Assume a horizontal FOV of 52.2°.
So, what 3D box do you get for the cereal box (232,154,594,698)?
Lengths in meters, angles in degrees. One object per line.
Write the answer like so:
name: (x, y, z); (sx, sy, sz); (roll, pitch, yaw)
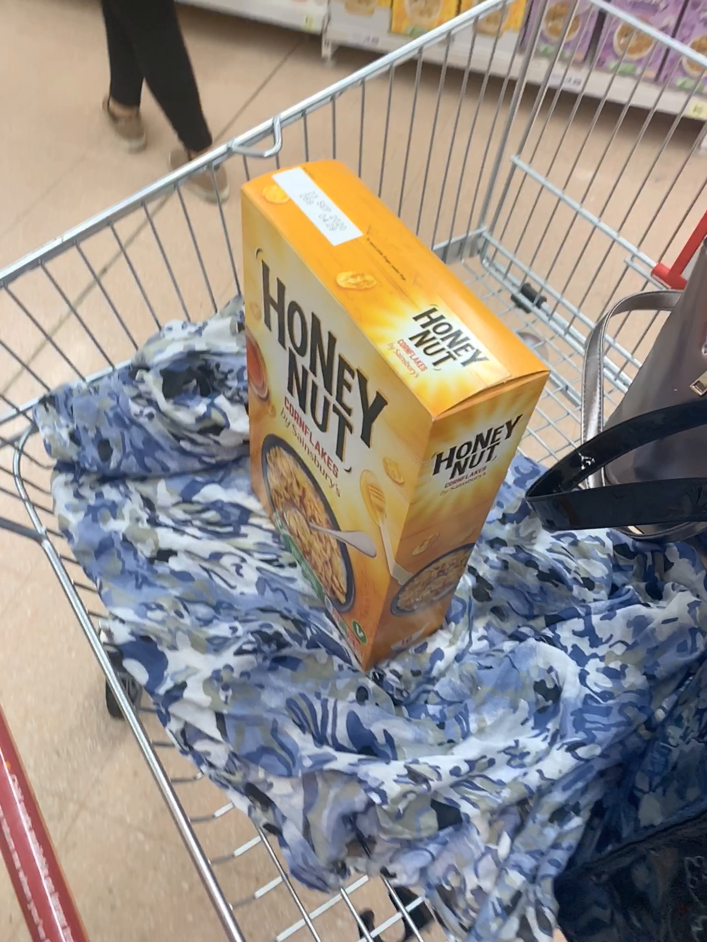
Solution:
cereal box: (0.007, -0.011, 0.484); (0.080, 0.298, 0.211); (-23, 59, -22)
